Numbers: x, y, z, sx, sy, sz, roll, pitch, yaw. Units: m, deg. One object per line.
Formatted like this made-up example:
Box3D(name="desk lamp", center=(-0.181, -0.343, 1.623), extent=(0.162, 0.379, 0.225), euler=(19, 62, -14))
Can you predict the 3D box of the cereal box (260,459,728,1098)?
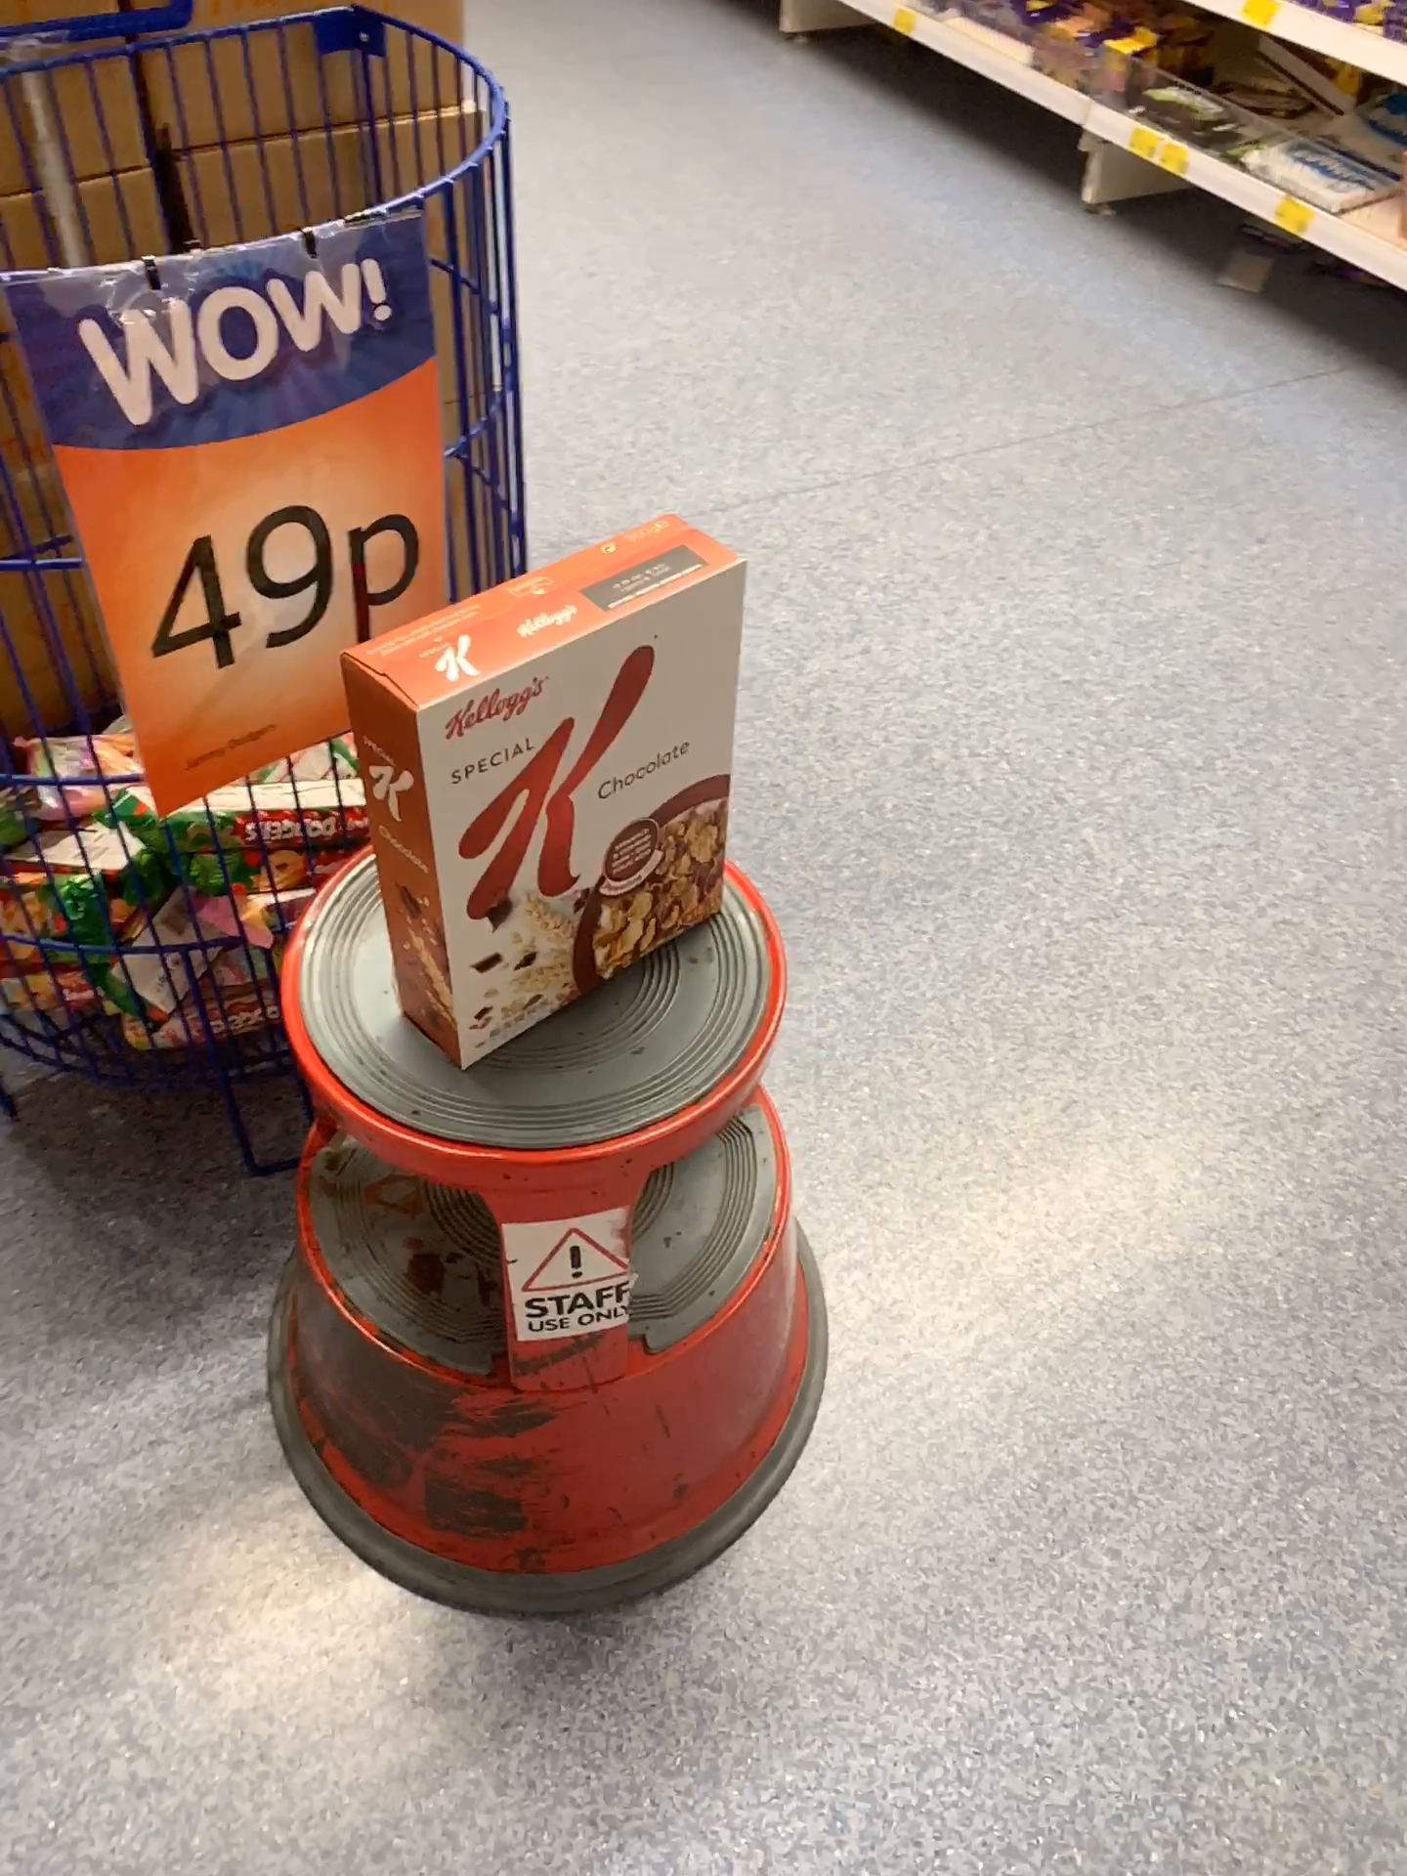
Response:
Box3D(name="cereal box", center=(-0.091, -0.074, 0.727), extent=(0.211, 0.267, 0.060), euler=(-33, 56, -29))
